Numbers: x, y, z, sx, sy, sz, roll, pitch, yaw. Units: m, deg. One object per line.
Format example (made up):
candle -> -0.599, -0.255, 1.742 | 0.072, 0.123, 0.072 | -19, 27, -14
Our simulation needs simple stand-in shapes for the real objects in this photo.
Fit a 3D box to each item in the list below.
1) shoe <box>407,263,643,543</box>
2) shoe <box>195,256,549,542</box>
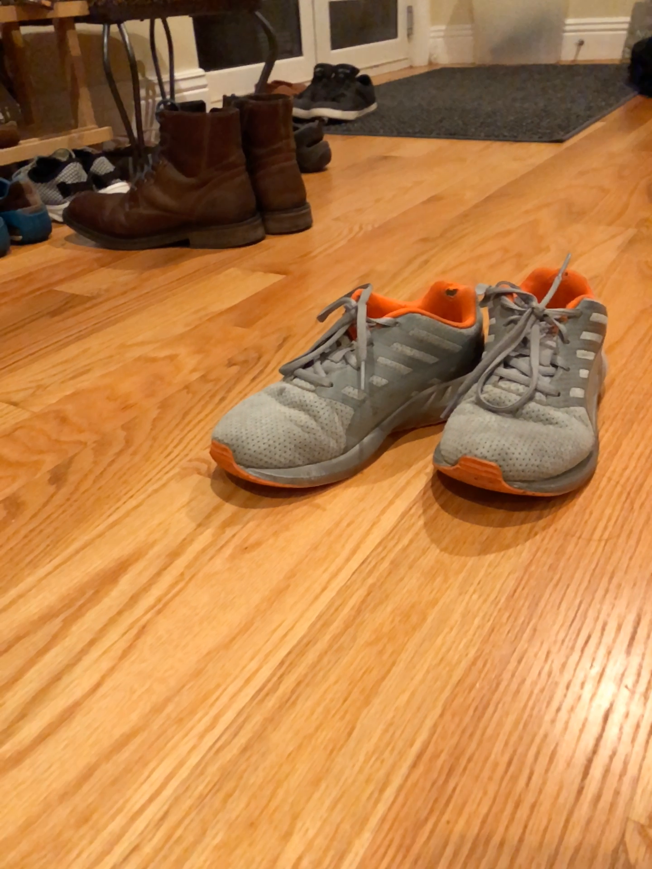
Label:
shoe -> 0.152, -0.042, 0.513 | 0.110, 0.080, 0.251 | 10, 34, 23
shoe -> 0.044, -0.041, 0.524 | 0.251, 0.099, 0.100 | -28, 38, -34
